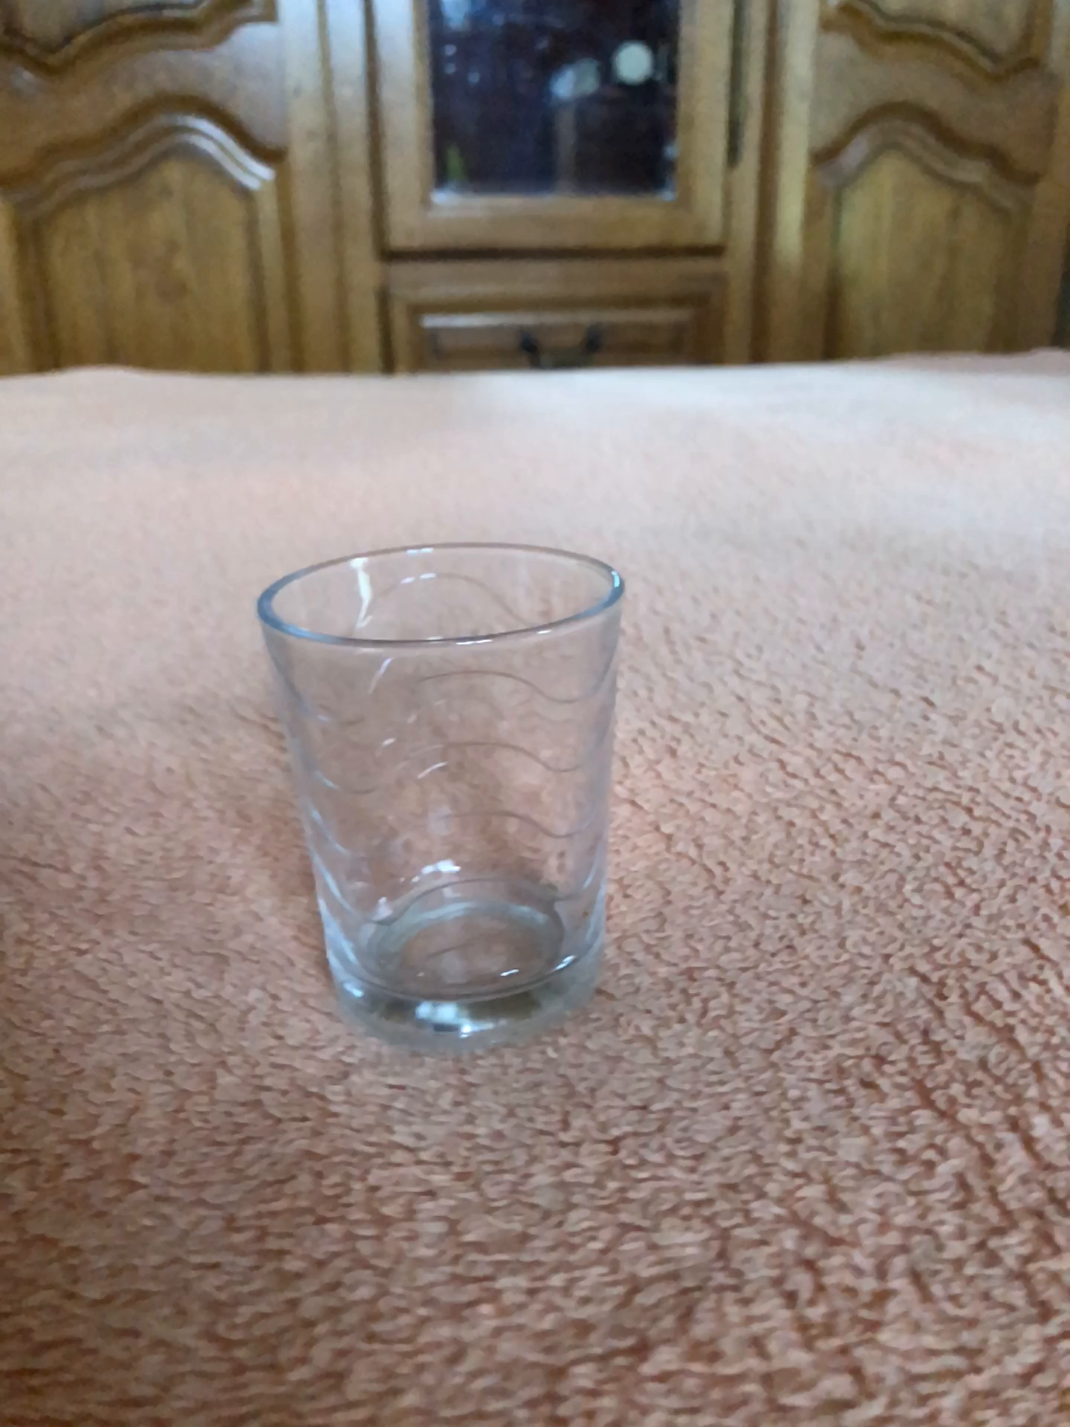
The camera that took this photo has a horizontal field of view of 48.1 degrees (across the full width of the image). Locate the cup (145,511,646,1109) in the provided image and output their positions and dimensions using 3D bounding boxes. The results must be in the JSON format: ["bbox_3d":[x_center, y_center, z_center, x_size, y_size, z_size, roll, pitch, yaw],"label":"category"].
[{"bbox_3d":[-0.022,0.011,0.219,0.060,0.080,0.060,-2,21,1],"label":"cup"}]
